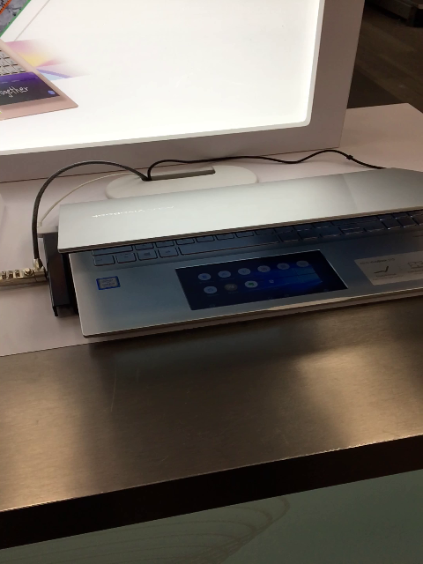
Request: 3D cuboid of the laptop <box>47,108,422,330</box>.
[{"bbox_3d":[0.055,-0.077,0.528,0.368,0.099,0.222,-8,38,-12],"label":"laptop"}]
